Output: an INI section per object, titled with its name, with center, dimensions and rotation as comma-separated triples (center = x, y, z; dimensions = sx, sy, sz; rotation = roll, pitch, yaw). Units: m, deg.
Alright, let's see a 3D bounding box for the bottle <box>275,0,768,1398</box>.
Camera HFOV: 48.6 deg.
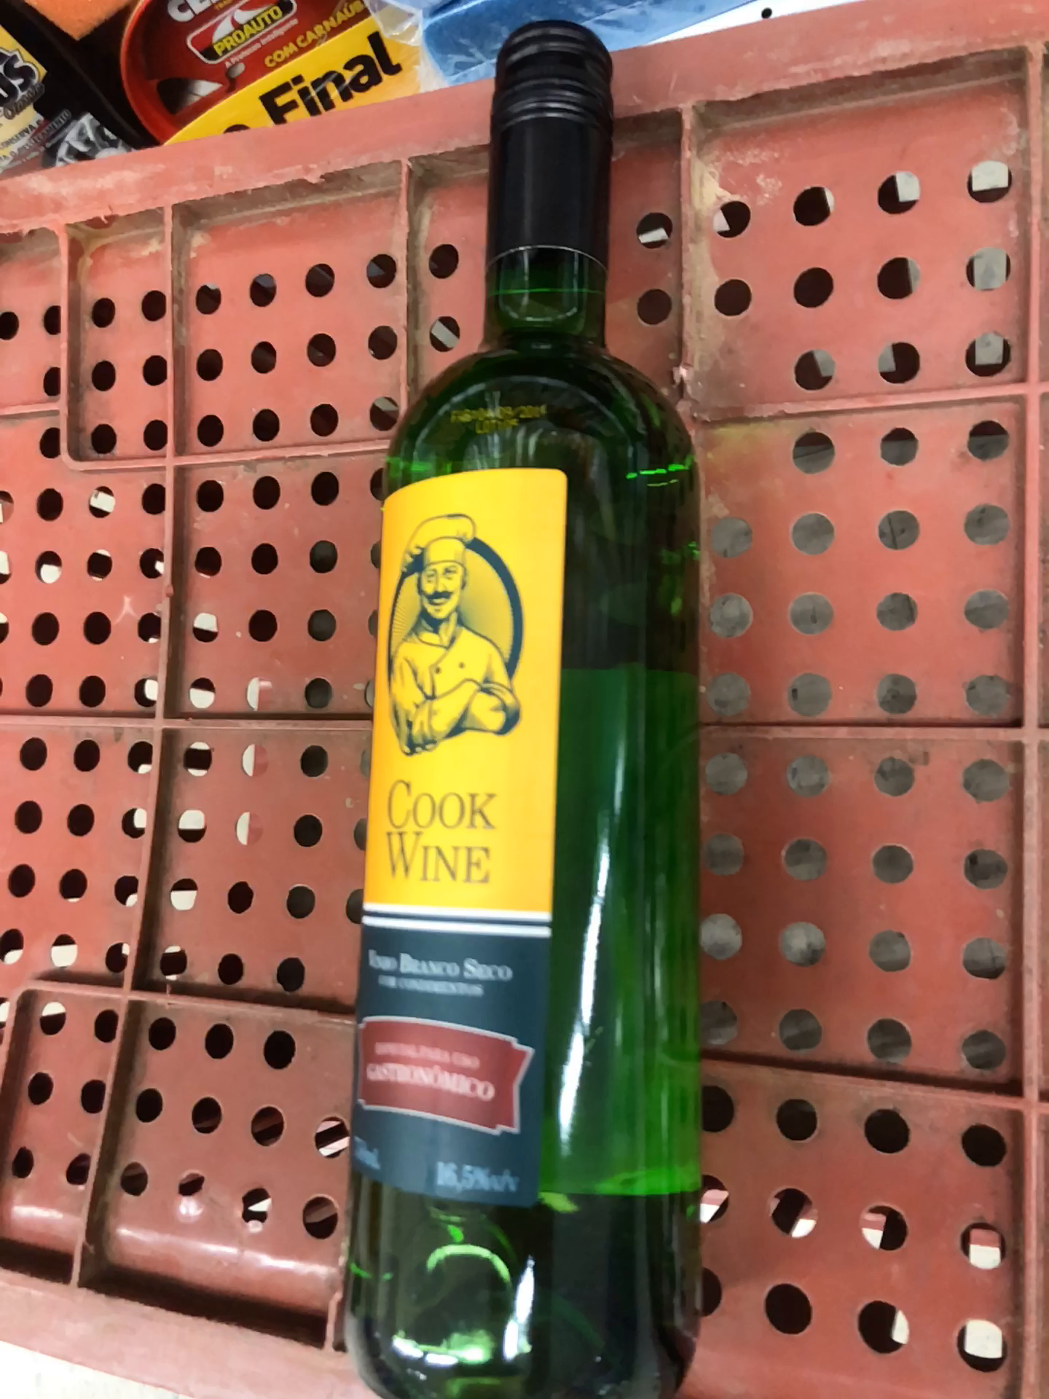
[bottle]
center = 0.003, -0.020, 0.255
dimensions = 0.080, 0.060, 0.320
rotation = -4, 81, 32
